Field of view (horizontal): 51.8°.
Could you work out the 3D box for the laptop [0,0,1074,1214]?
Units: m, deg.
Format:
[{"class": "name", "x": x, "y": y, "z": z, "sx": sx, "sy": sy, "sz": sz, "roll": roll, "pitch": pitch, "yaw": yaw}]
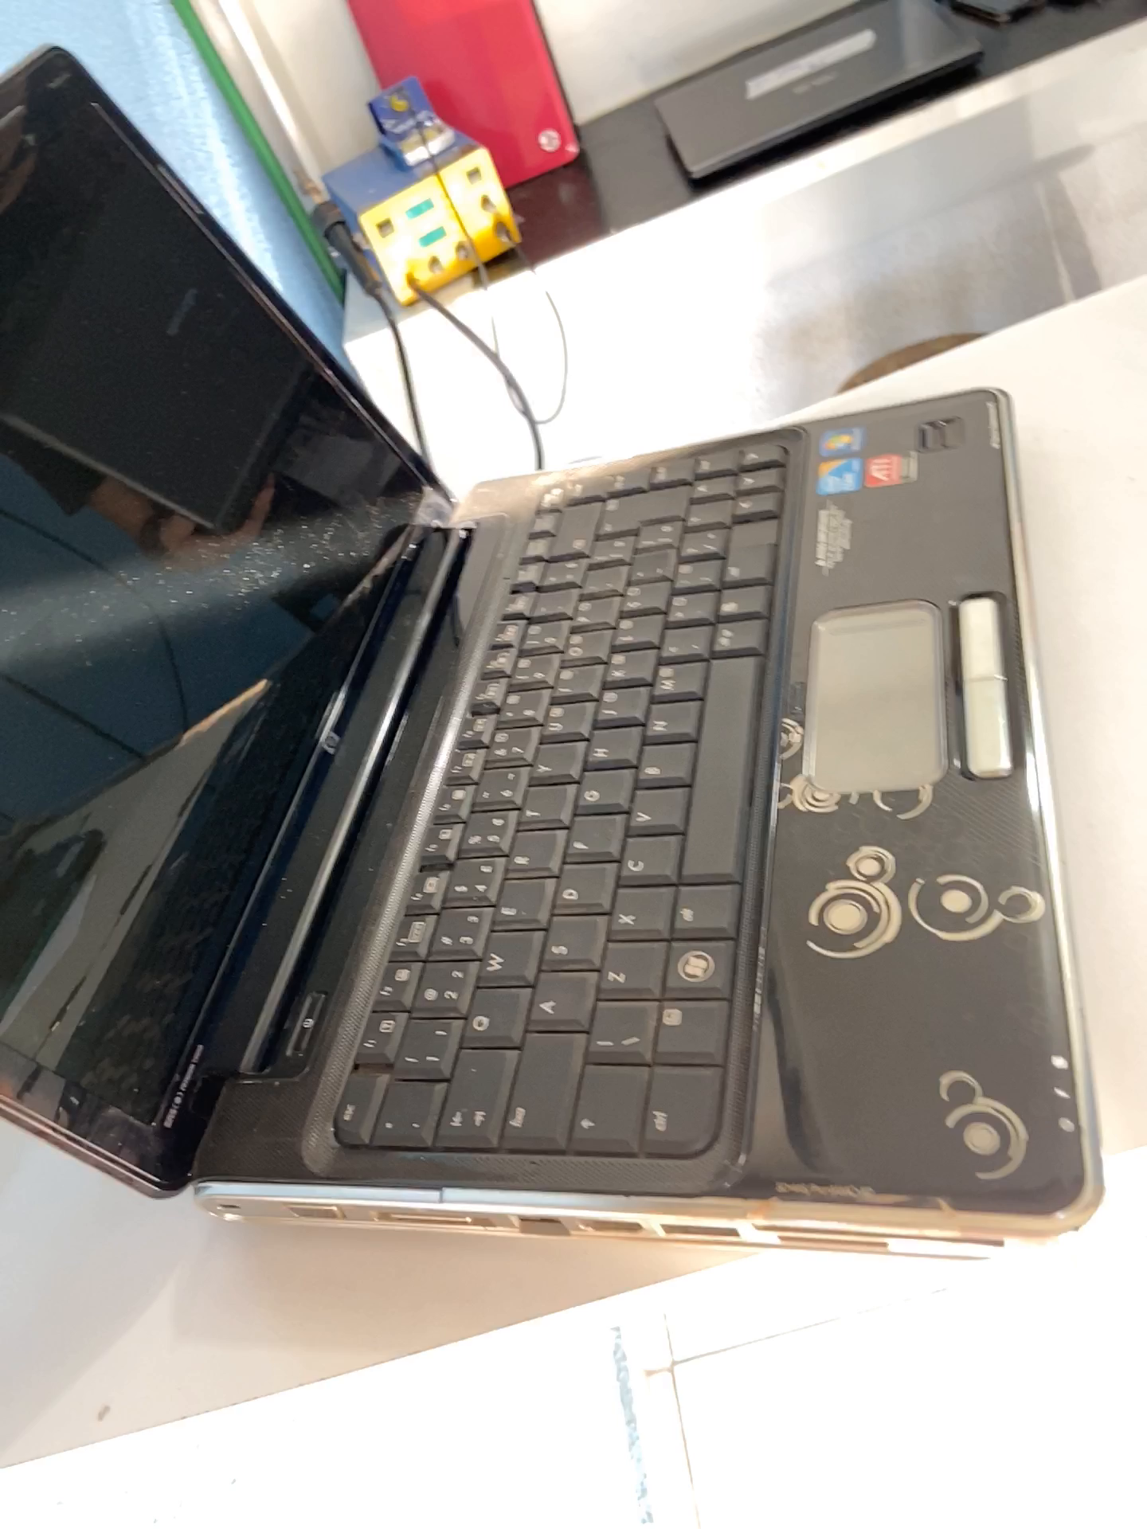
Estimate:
[{"class": "laptop", "x": -0.046, "y": -0.082, "z": 0.335, "sx": 0.301, "sy": 0.210, "sz": 0.323, "roll": -6, "pitch": 45, "yaw": 21}]
